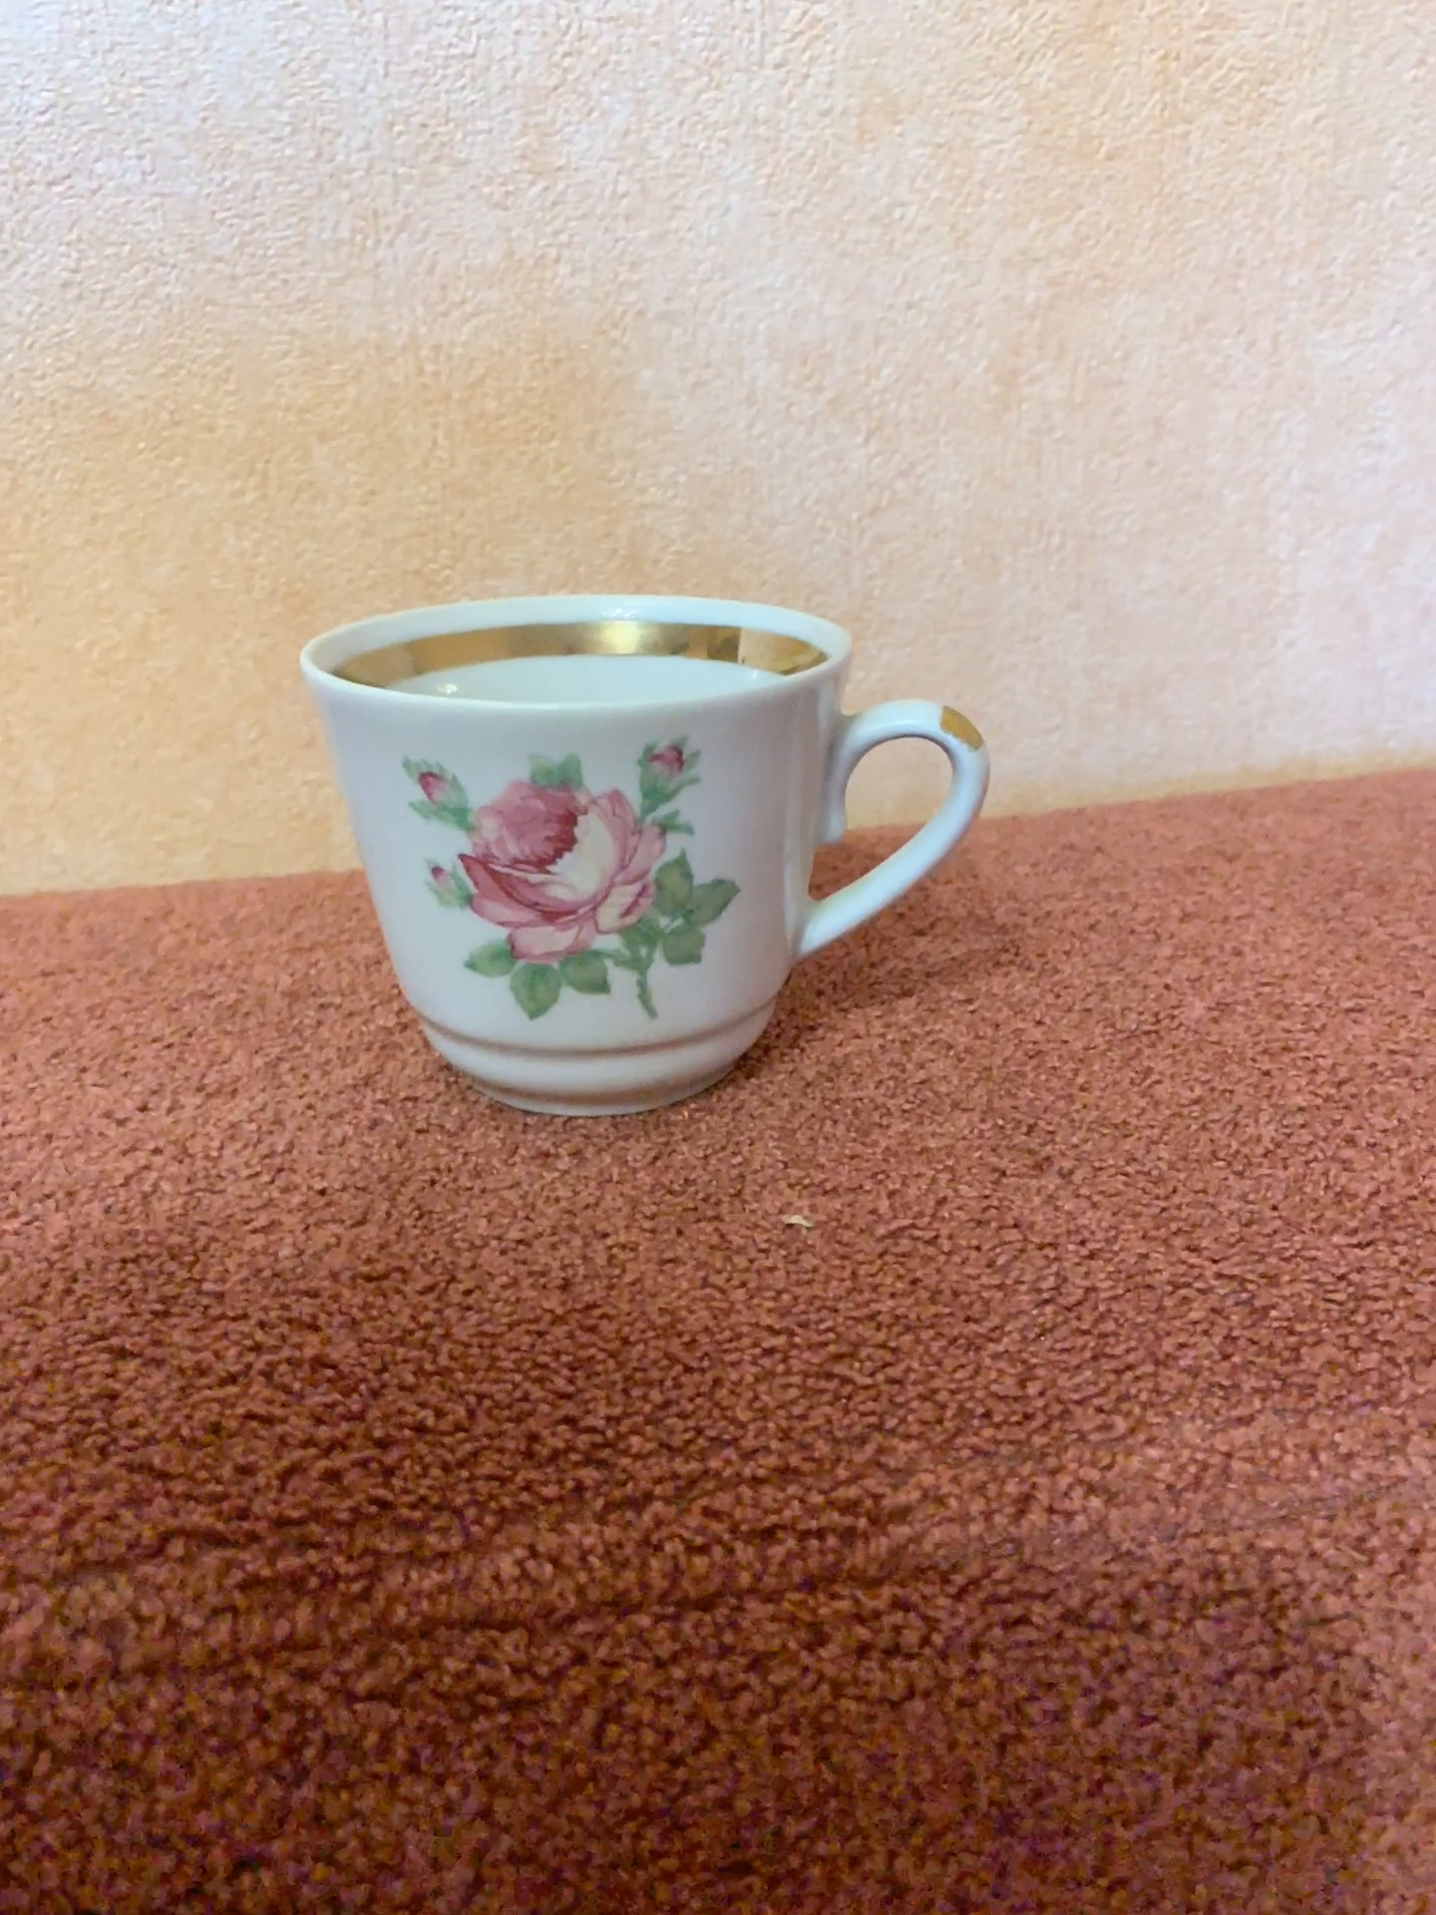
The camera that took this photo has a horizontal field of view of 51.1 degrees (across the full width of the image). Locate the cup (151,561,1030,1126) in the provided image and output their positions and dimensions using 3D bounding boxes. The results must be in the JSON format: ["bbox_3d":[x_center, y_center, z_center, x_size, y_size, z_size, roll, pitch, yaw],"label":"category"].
[{"bbox_3d":[-0.010,-0.017,0.185,0.085,0.047,0.067,-1,25,4],"label":"cup"}]
